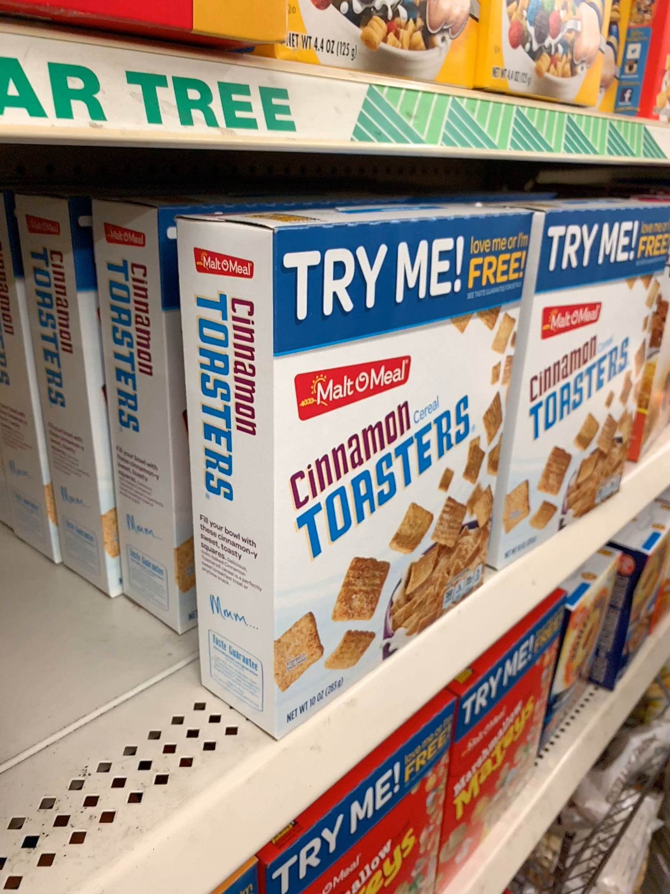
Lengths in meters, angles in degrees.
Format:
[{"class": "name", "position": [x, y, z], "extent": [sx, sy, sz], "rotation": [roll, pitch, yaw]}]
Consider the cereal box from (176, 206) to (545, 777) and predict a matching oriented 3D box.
[{"class": "cereal box", "position": [0.017, 0.005, 0.314], "extent": [0.050, 0.209, 0.170], "rotation": [20, 28, 36]}]
